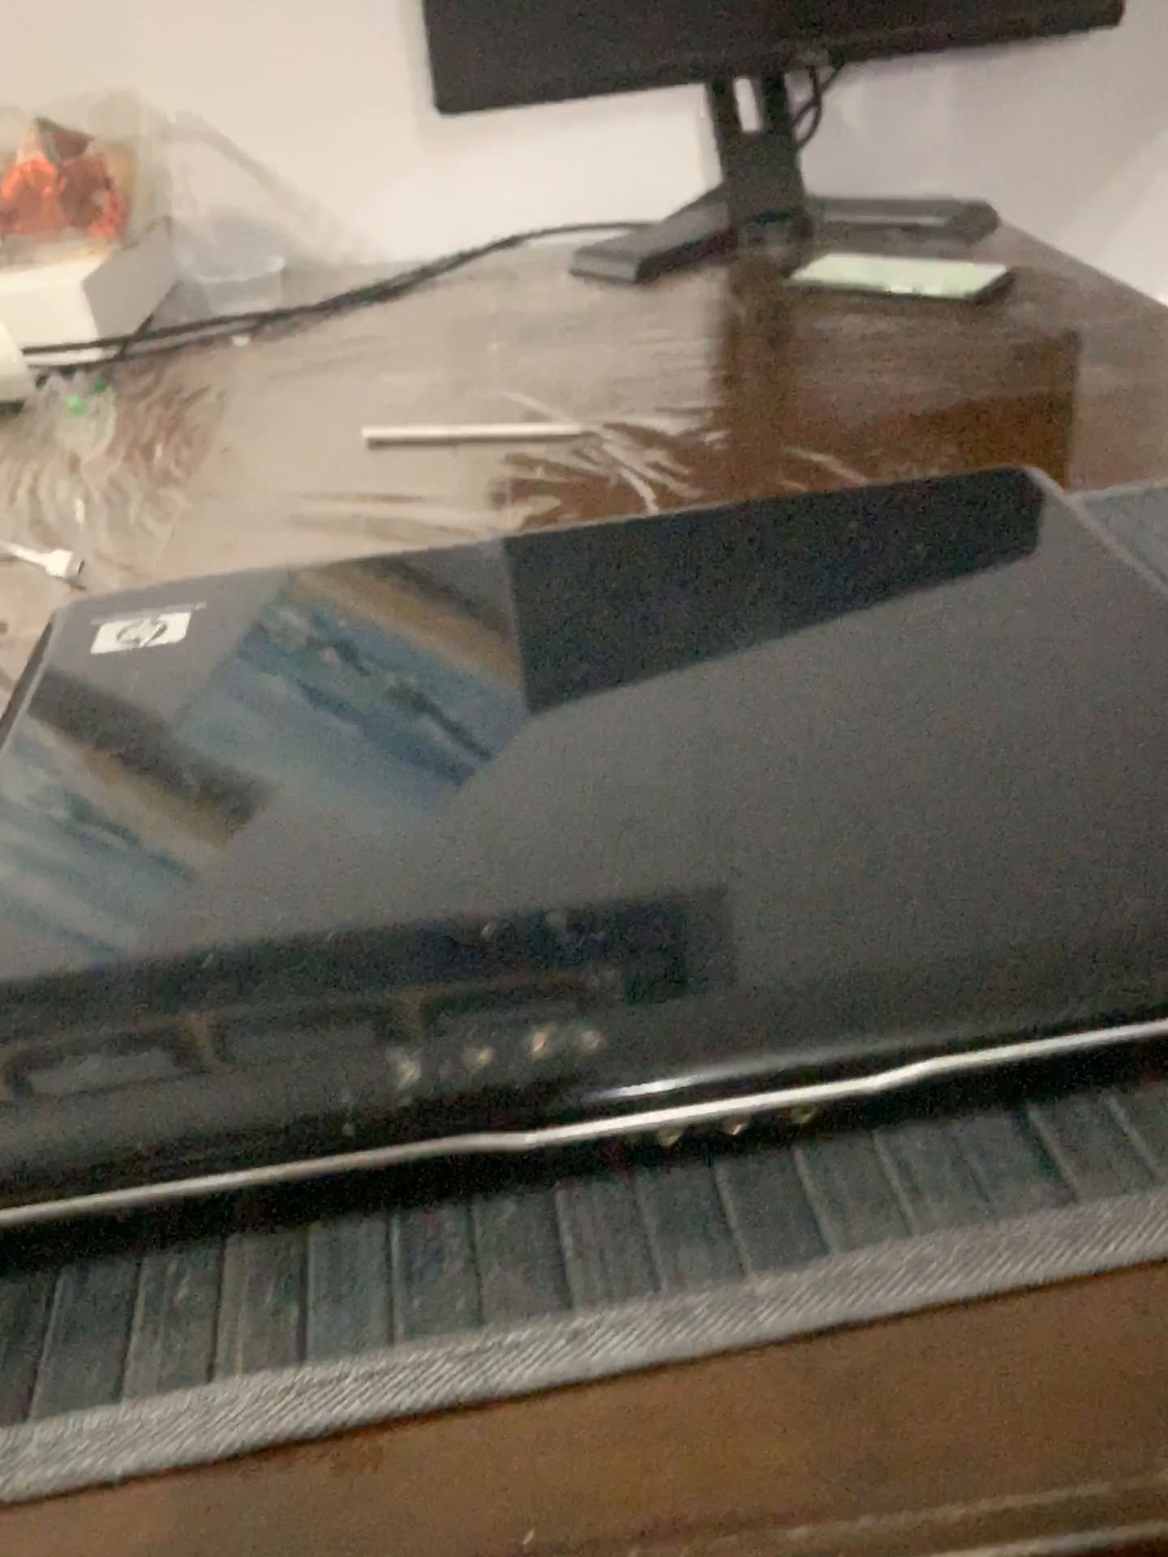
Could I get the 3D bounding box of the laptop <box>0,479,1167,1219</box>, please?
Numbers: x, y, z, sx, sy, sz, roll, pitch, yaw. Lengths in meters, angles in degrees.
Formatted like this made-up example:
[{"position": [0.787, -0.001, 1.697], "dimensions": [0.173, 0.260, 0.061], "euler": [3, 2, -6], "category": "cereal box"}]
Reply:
[{"position": [0.012, -0.014, 0.333], "dimensions": [0.339, 0.009, 0.232], "euler": [-8, 37, -6], "category": "laptop"}]
